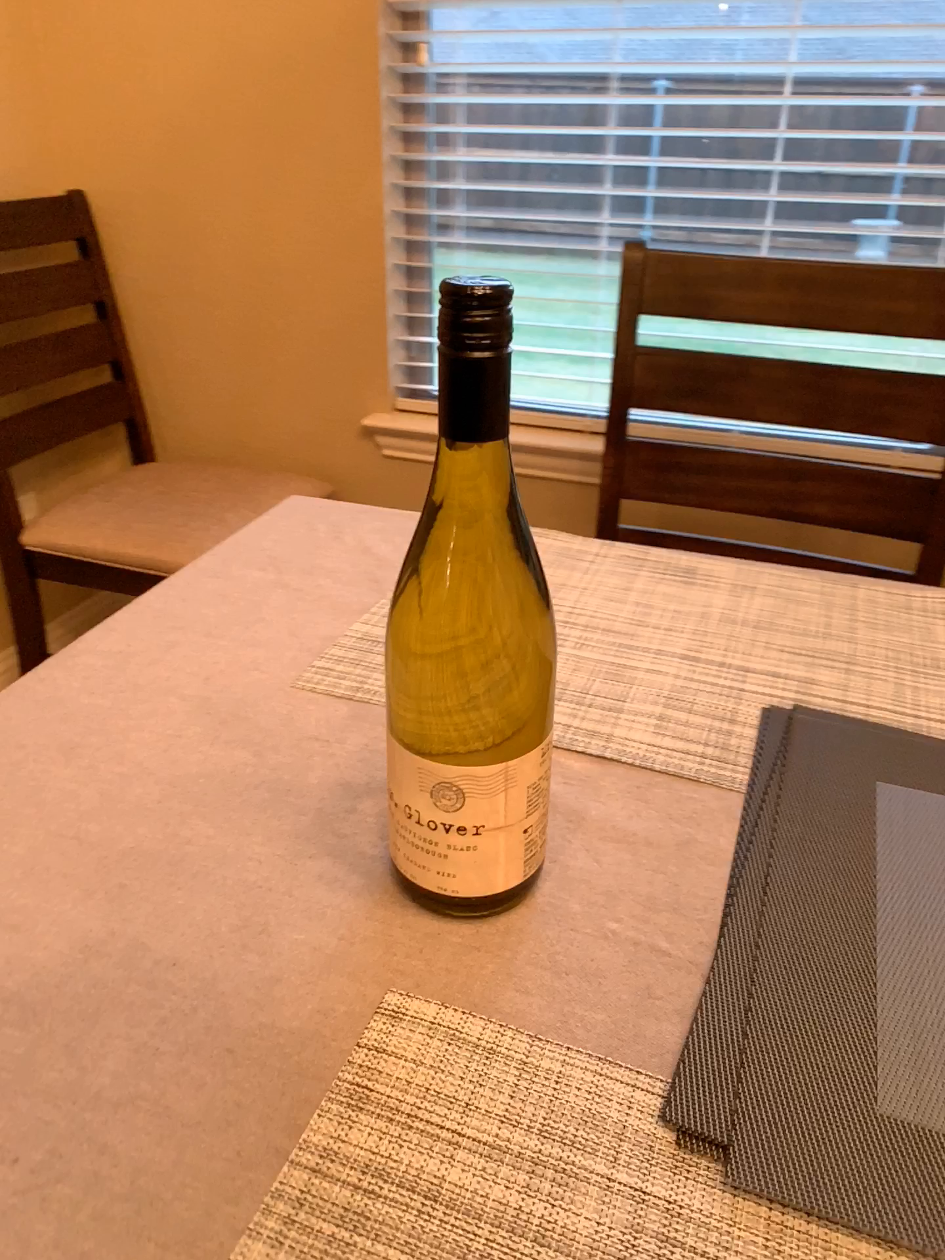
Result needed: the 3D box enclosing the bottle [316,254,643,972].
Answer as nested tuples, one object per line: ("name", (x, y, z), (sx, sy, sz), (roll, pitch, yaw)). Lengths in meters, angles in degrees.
("bottle", (0.002, -0.002, 0.437), (0.090, 0.298, 0.090), (1, 28, -1))
